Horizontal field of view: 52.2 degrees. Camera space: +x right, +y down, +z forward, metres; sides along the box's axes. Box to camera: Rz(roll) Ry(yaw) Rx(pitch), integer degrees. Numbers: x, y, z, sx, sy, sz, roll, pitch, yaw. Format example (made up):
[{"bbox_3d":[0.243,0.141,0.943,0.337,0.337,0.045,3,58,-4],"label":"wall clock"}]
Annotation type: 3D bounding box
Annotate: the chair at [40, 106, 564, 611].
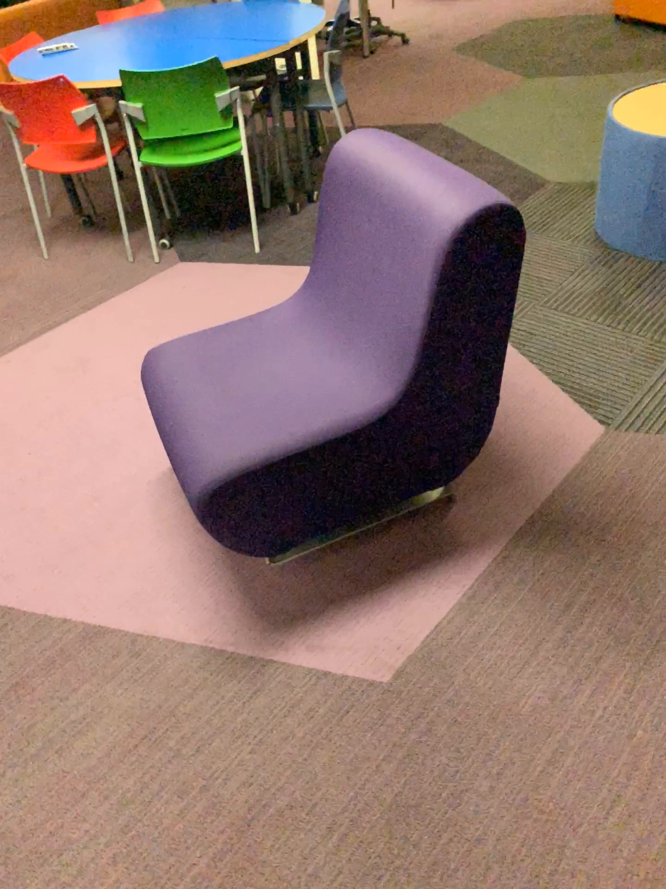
[{"bbox_3d":[-0.100,-0.267,1.562,0.821,0.614,0.807,-21,42,-14],"label":"chair"}]
